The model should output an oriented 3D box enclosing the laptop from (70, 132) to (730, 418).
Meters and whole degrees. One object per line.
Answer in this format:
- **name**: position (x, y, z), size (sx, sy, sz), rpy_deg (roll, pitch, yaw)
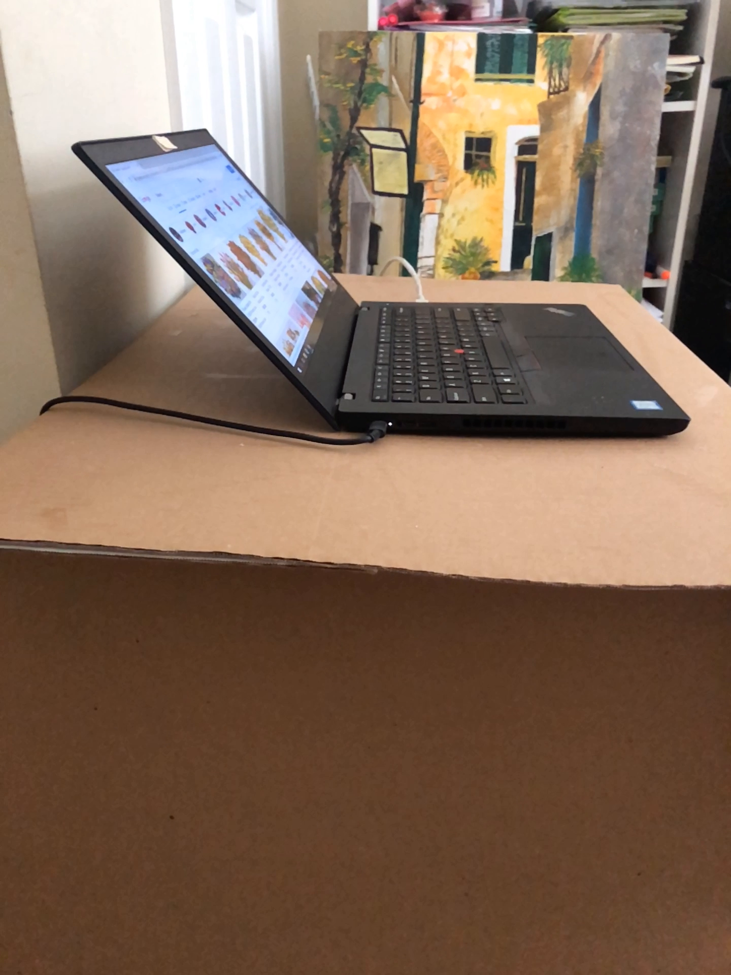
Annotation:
- **laptop**: position (0.025, -0.185, 0.620), size (0.364, 0.158, 0.324), rpy_deg (1, 25, 2)
